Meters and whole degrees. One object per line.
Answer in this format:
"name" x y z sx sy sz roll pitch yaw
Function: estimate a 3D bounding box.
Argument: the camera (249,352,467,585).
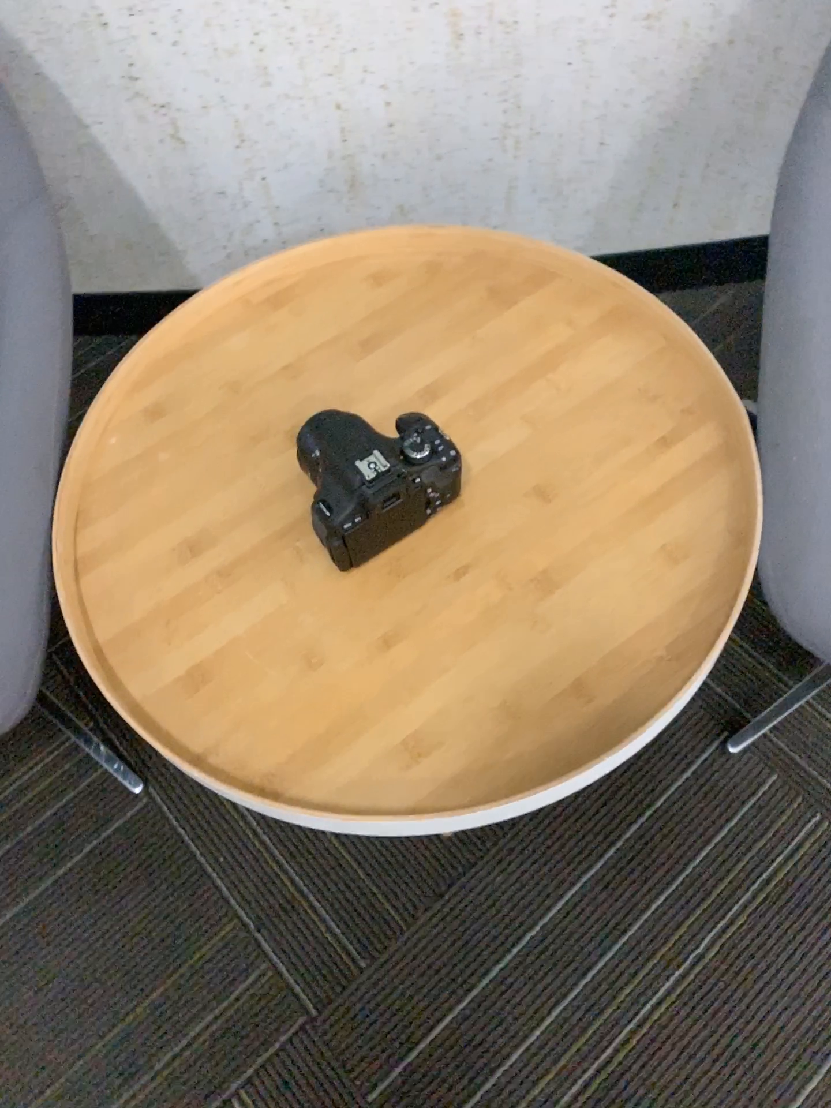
"camera" -0.046 -0.074 0.745 0.134 0.100 0.120 -32 64 -11
